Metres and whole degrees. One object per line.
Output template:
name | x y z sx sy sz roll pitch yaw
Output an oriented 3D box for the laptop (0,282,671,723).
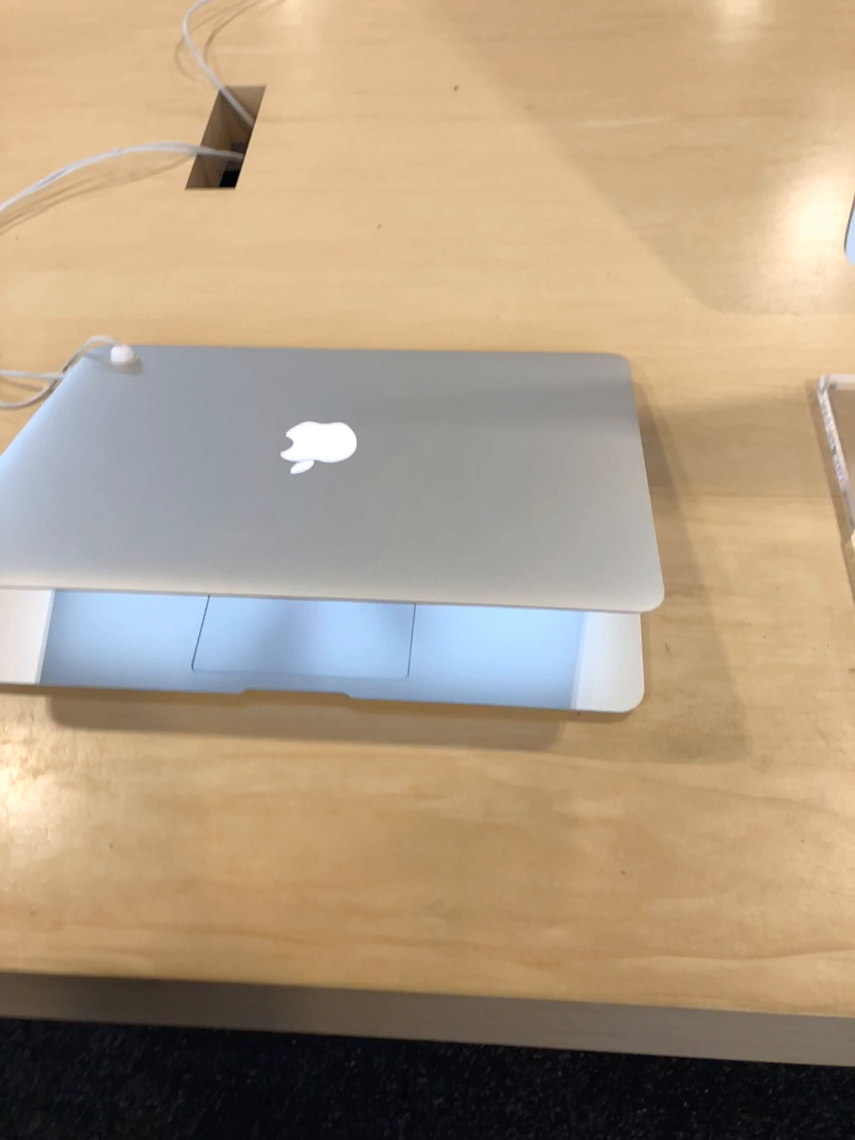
laptop | -0.052 -0.045 0.469 0.315 0.067 0.216 2 55 6
